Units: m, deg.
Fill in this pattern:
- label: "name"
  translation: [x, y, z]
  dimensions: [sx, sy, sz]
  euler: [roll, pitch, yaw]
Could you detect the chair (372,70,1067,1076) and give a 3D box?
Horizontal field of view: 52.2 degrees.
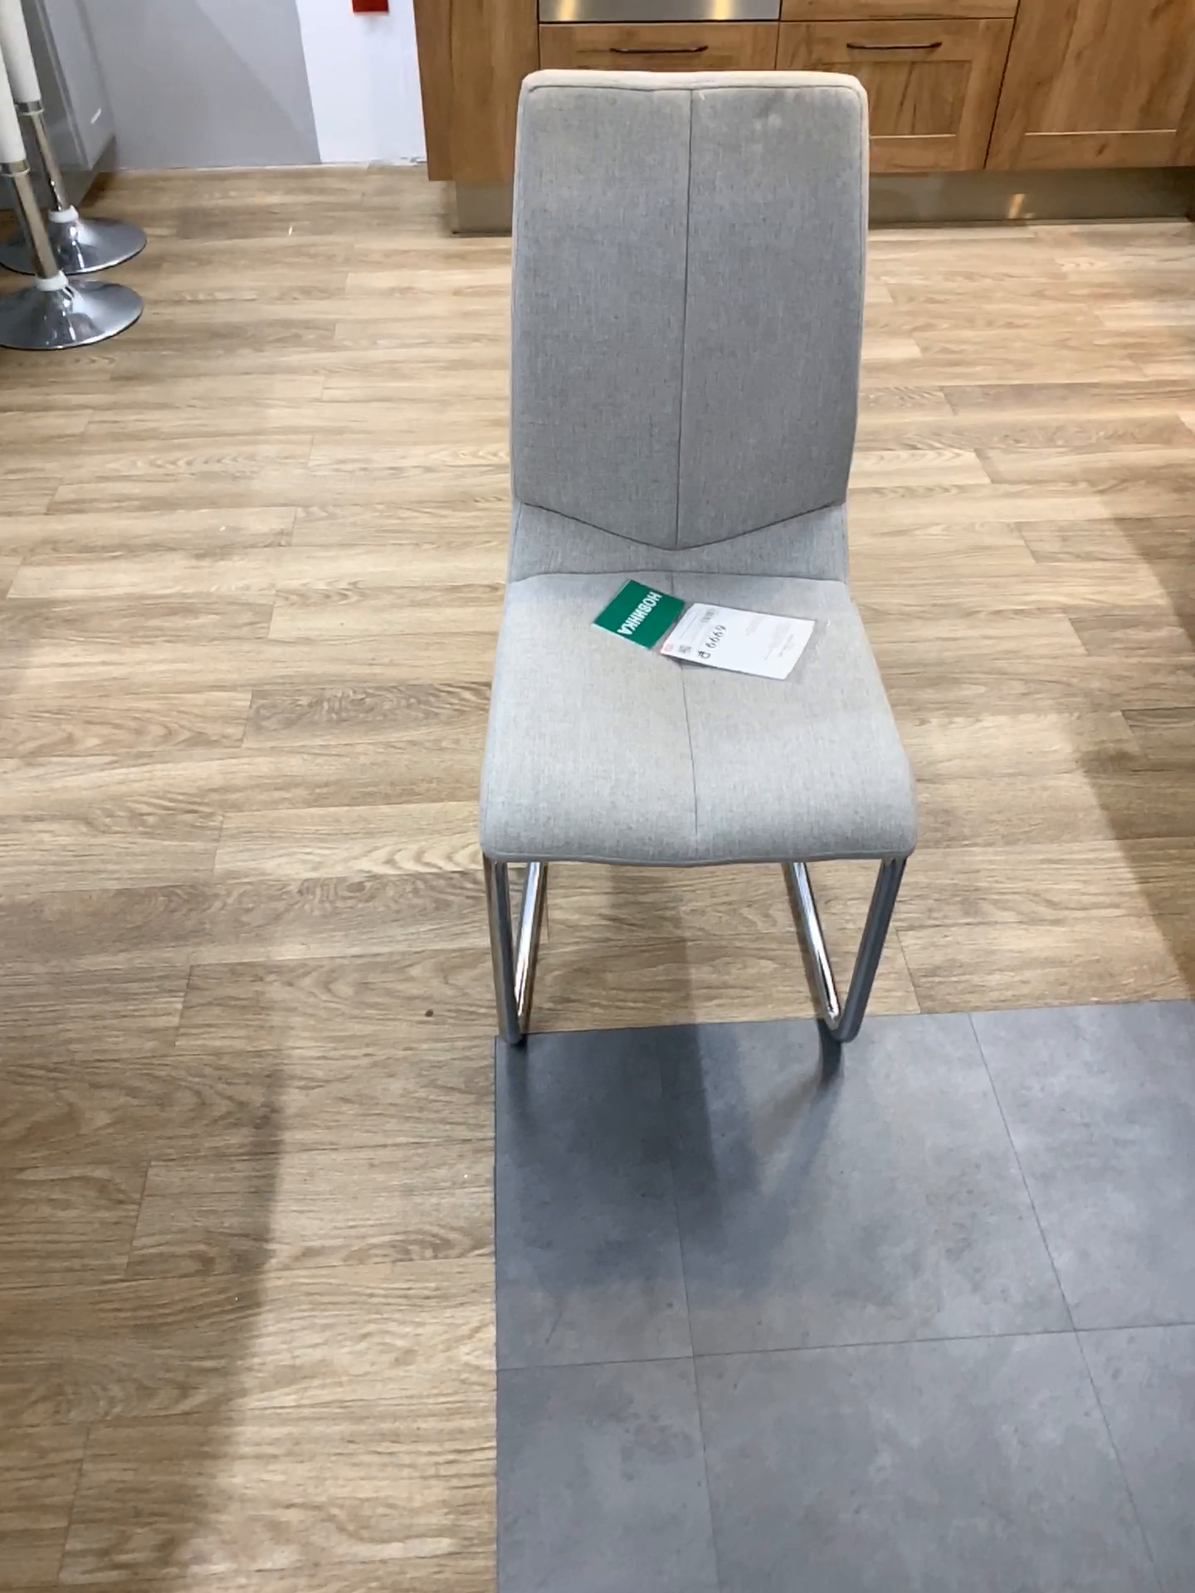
- label: "chair"
  translation: [0.078, -0.202, 1.407]
  dimensions: [0.490, 0.984, 0.574]
  euler: [-1, 45, -1]
